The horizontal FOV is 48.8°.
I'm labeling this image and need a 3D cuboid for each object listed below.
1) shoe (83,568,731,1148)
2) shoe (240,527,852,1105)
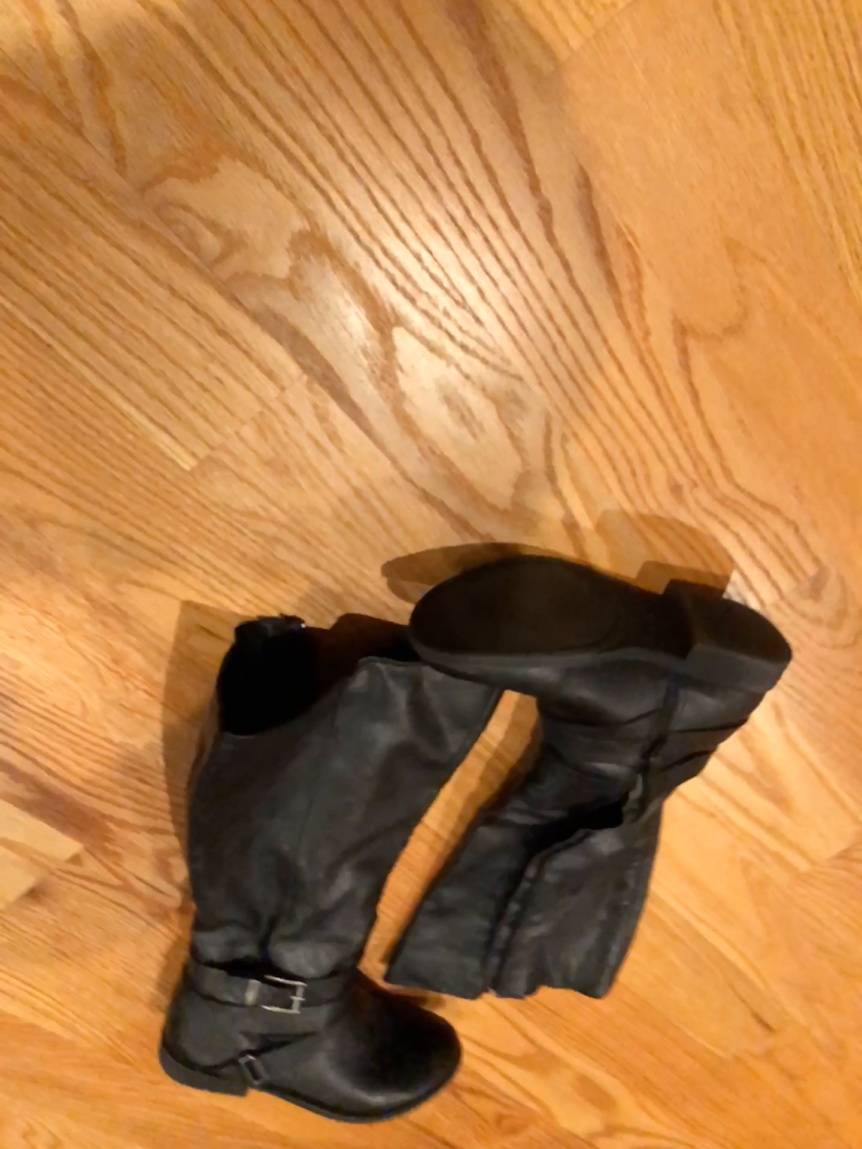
[{"bbox_3d":[-0.040,0.219,0.632,0.290,0.104,0.404,12,120,-19],"label":"shoe"},{"bbox_3d":[0.049,0.187,0.630,0.250,0.094,0.394,13,118,-19],"label":"shoe"}]
